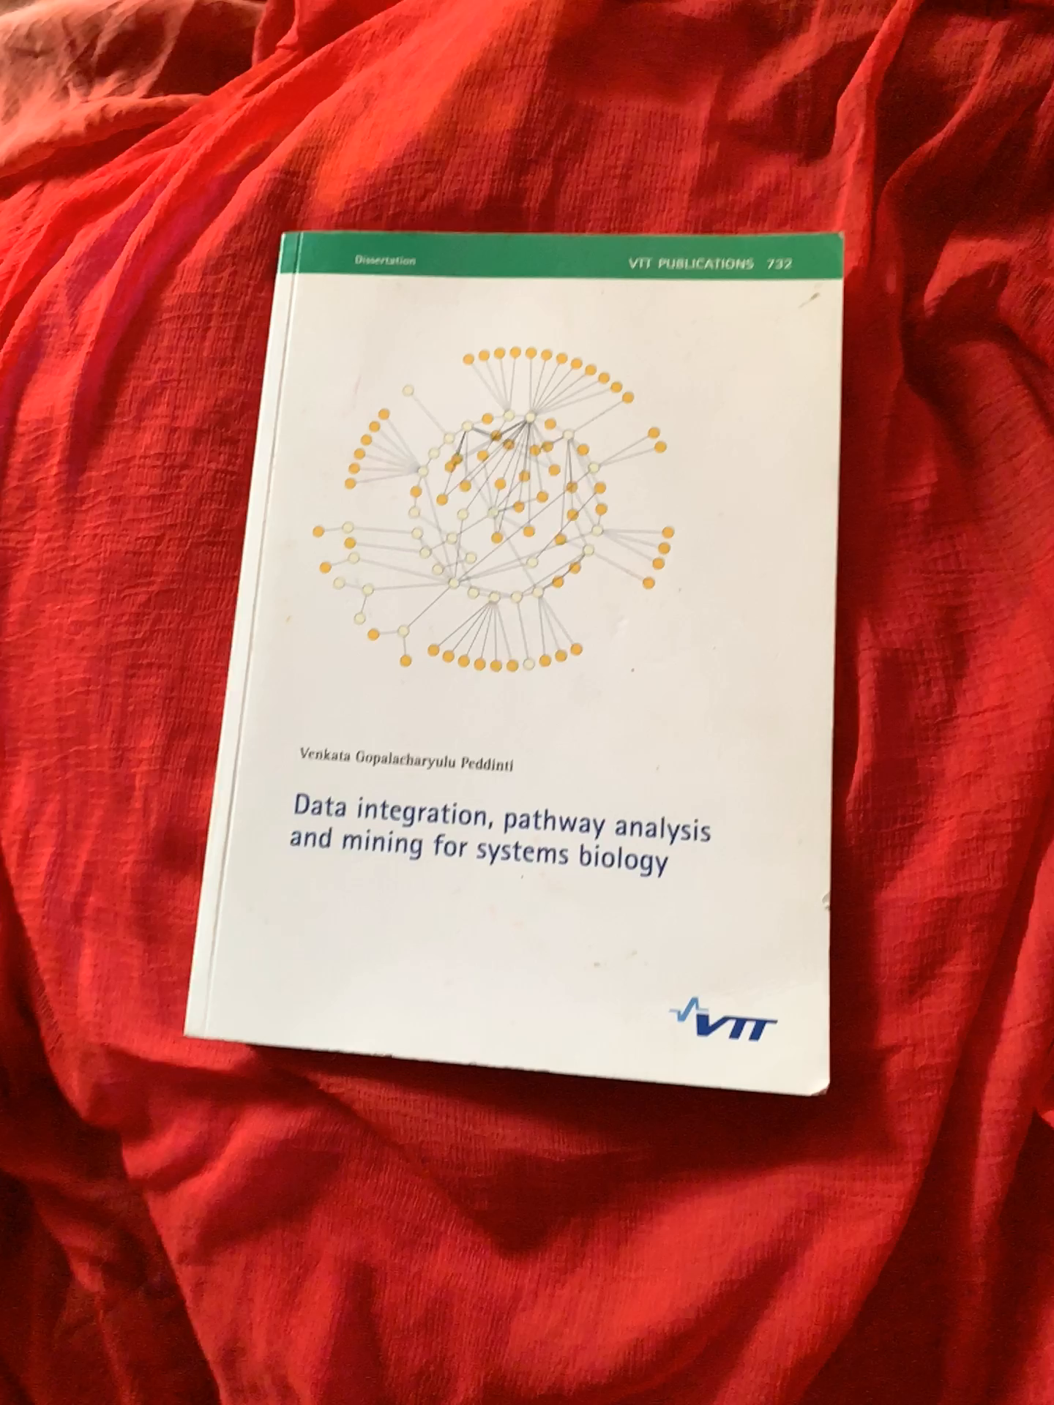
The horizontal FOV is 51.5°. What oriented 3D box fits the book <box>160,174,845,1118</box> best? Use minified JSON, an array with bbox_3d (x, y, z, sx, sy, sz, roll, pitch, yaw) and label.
[{"bbox_3d":[-0.002,-0.029,0.326,0.180,0.020,0.270,3,78,9],"label":"book"}]
